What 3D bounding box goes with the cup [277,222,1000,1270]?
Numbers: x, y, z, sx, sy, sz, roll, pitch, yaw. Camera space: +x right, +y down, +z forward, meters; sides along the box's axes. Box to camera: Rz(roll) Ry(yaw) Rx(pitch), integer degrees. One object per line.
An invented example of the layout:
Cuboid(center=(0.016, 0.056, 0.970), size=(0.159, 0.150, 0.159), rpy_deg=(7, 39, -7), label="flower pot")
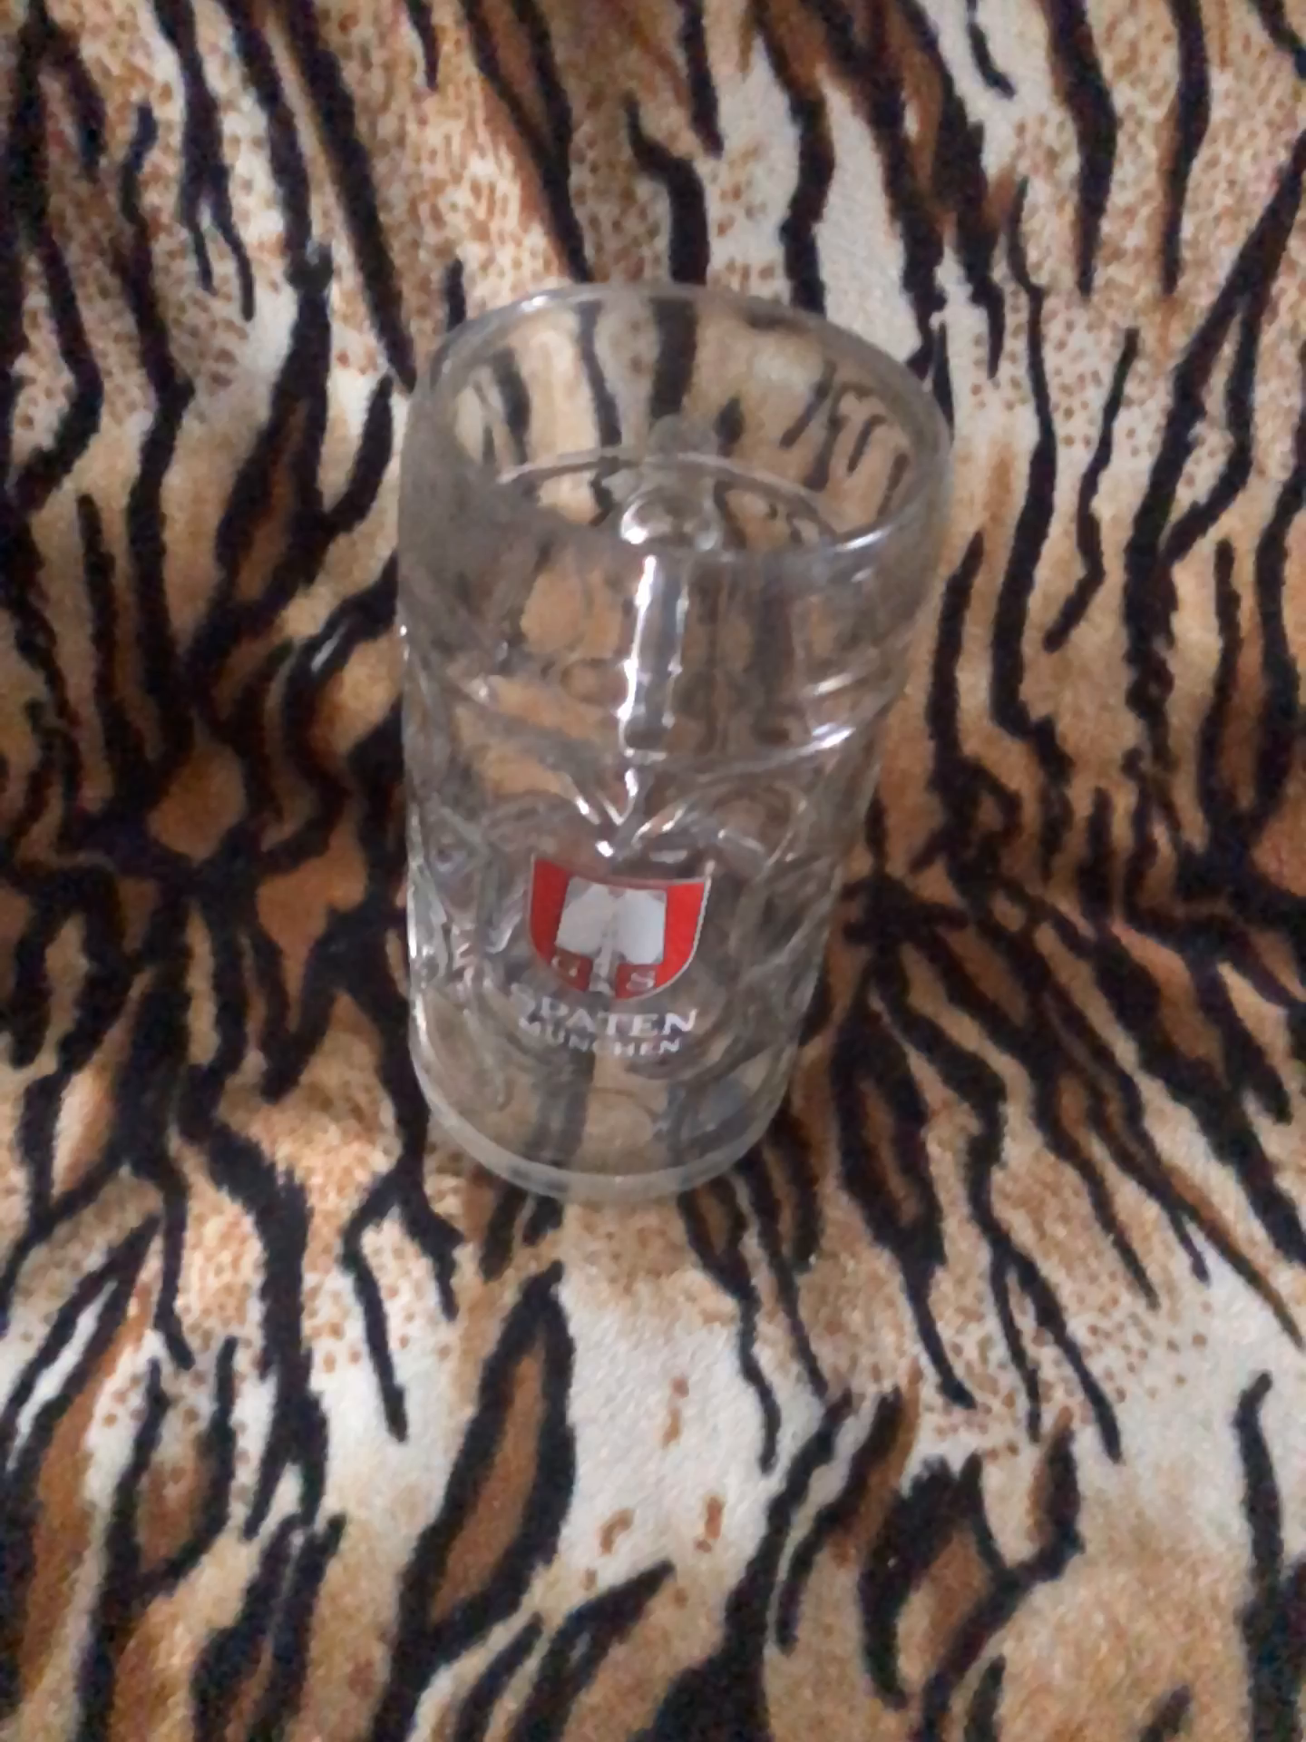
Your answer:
Cuboid(center=(0.001, -0.029, 0.356), size=(0.120, 0.194, 0.150), rpy_deg=(8, 42, 3), label="cup")
